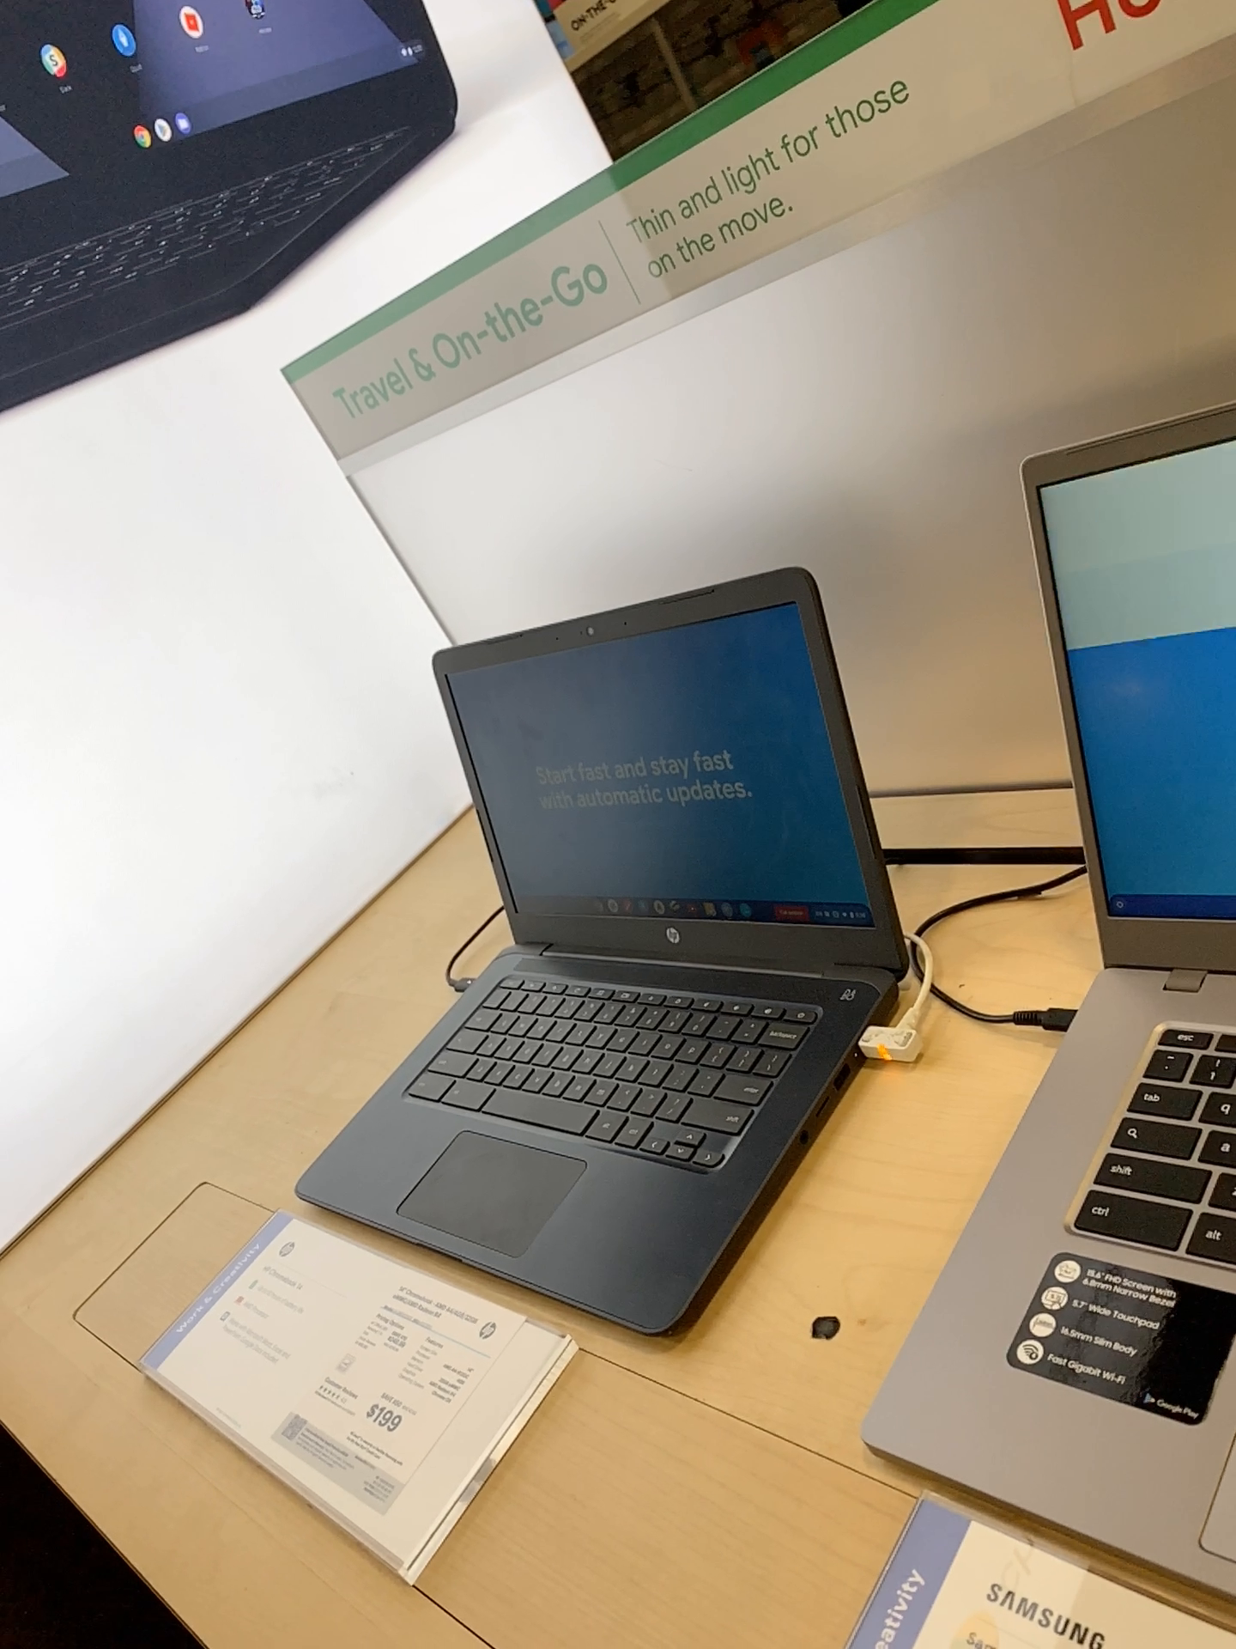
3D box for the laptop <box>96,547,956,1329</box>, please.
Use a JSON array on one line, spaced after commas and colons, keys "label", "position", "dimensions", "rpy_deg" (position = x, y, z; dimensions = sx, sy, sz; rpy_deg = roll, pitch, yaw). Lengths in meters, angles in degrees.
[{"label": "laptop", "position": [-0.053, 0.046, 0.689], "dimensions": [0.320, 0.198, 0.292], "rpy_deg": [-4, 36, 50]}]
